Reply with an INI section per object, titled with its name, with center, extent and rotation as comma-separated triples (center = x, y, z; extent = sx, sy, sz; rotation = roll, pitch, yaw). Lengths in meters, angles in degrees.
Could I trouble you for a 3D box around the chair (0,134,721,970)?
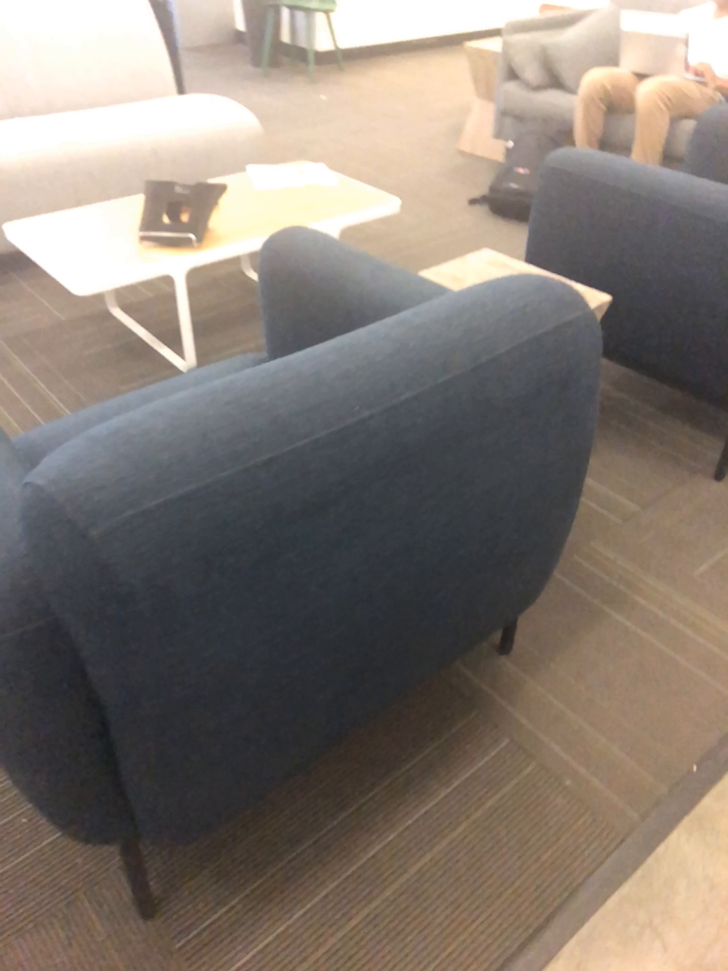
[chair]
center = -0.172, 0.018, 1.272
extent = 0.925, 0.783, 0.842
rotation = -27, 45, -31
